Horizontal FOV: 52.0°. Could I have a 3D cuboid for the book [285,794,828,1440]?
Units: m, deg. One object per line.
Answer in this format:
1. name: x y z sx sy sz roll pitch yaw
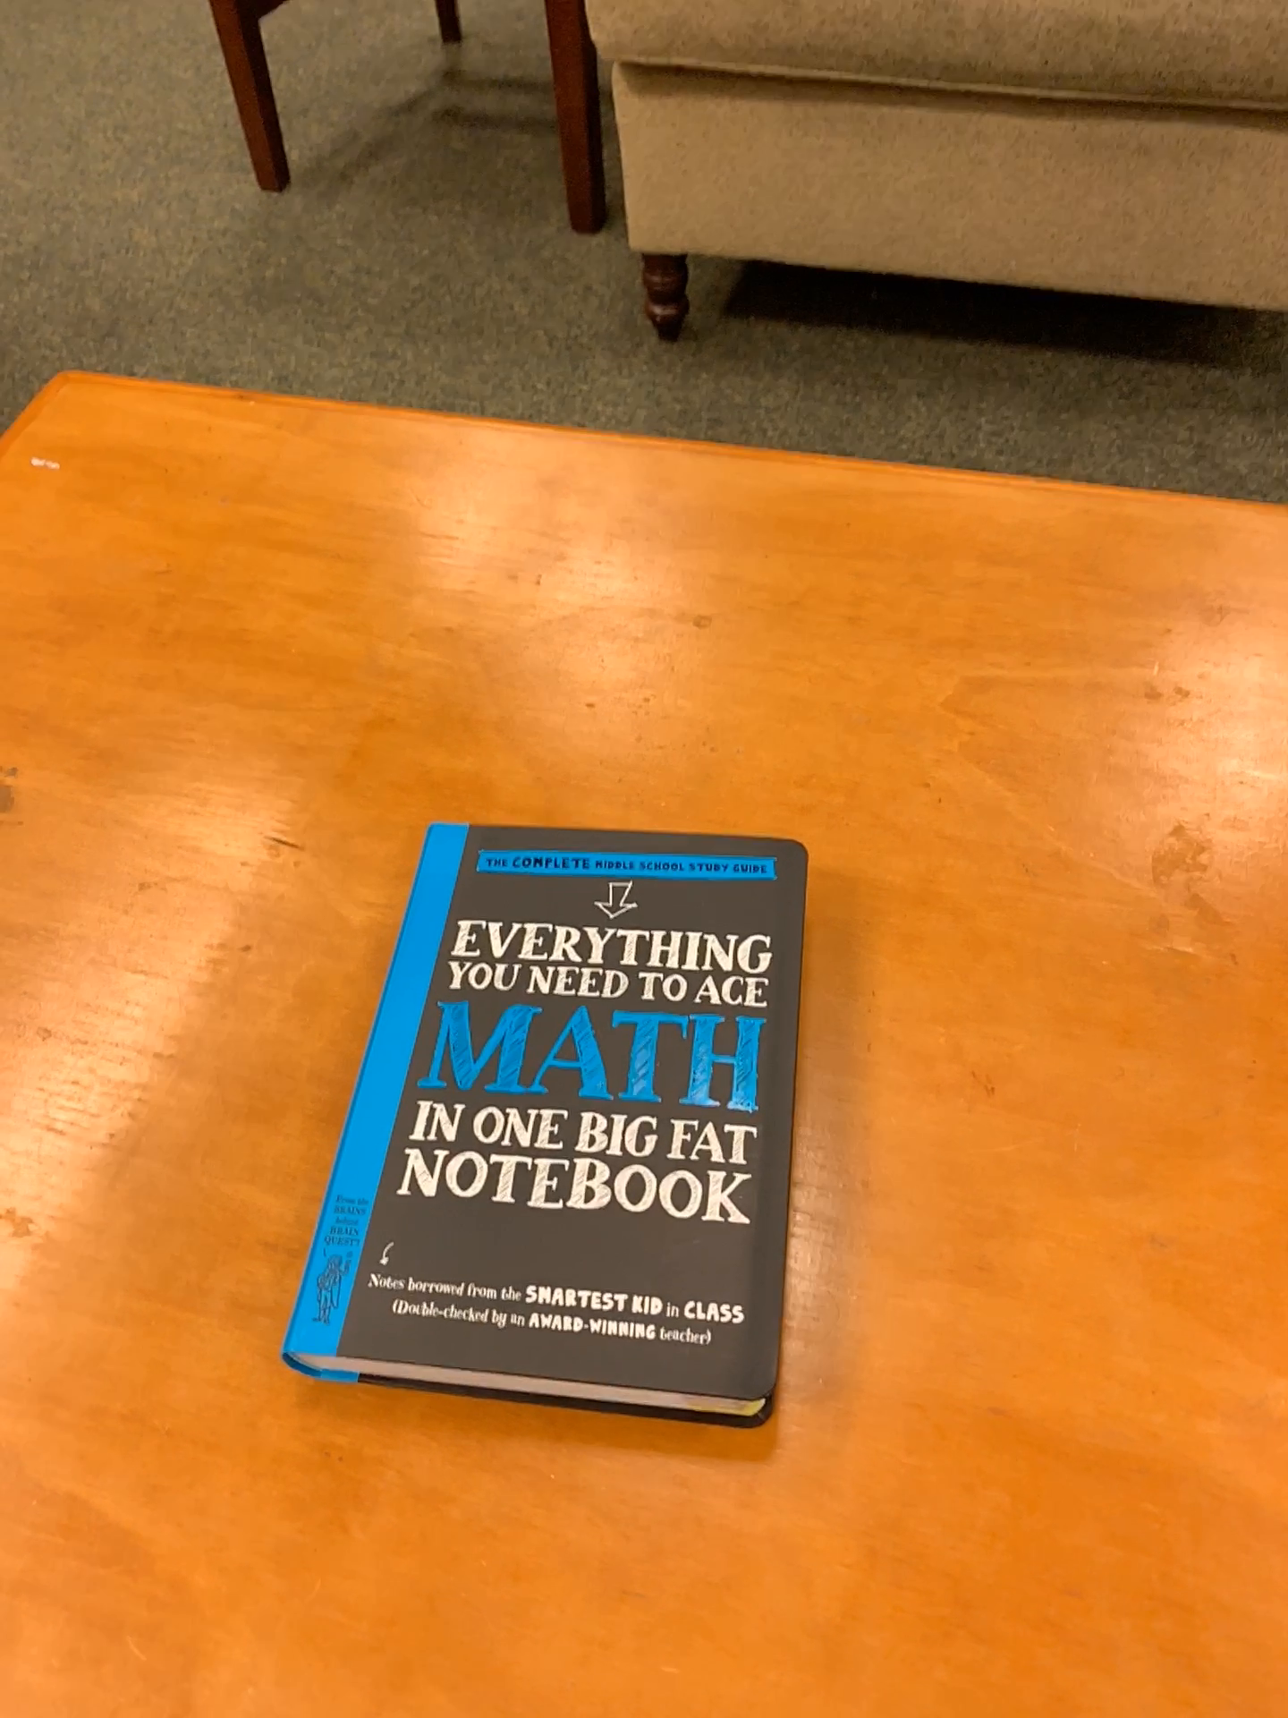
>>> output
1. book: -0.019 0.082 0.469 0.157 0.050 0.208 4 58 5
